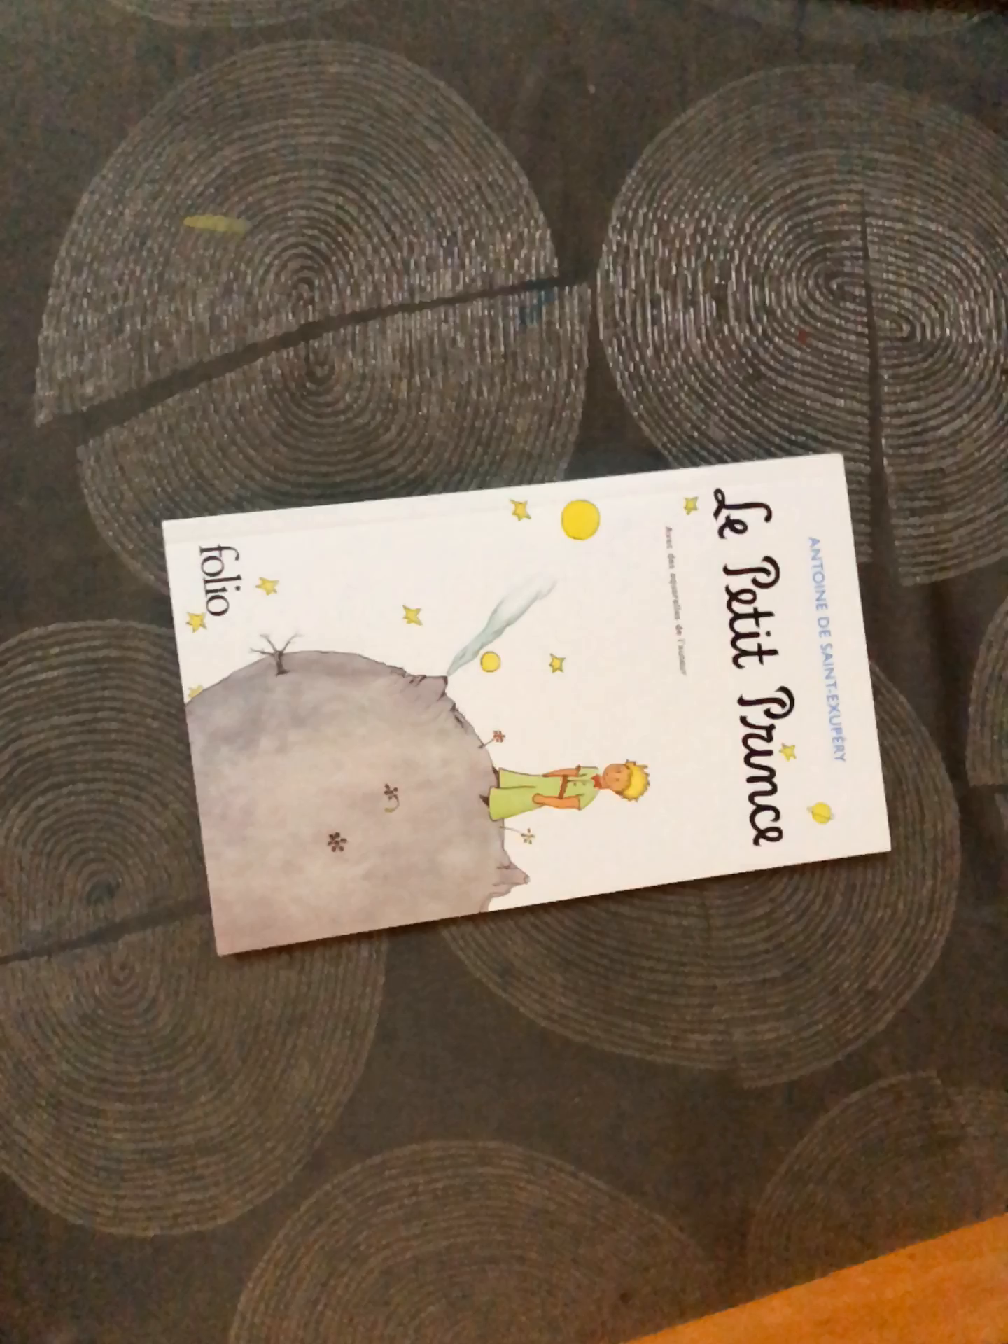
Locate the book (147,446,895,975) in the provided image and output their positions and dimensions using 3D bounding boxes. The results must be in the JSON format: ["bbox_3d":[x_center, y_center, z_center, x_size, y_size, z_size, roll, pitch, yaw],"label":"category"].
[{"bbox_3d":[0.006,0.008,0.282,0.170,0.030,0.110,-6,94,-3],"label":"book"}]
